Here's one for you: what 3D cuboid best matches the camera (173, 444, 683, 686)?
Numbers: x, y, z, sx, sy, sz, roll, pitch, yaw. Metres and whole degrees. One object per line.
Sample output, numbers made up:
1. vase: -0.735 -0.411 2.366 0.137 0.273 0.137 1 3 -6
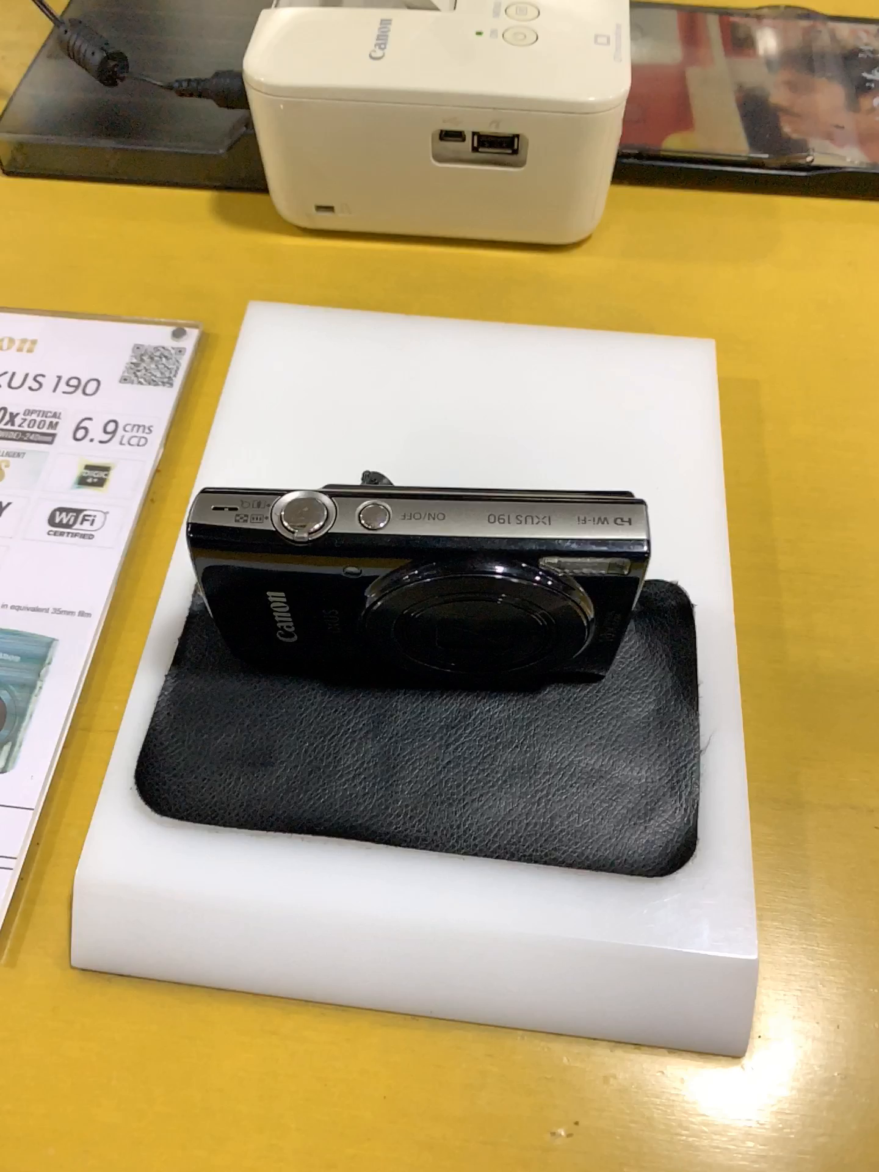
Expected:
1. camera: -0.002 -0.002 0.191 0.090 0.060 0.020 1 59 1
